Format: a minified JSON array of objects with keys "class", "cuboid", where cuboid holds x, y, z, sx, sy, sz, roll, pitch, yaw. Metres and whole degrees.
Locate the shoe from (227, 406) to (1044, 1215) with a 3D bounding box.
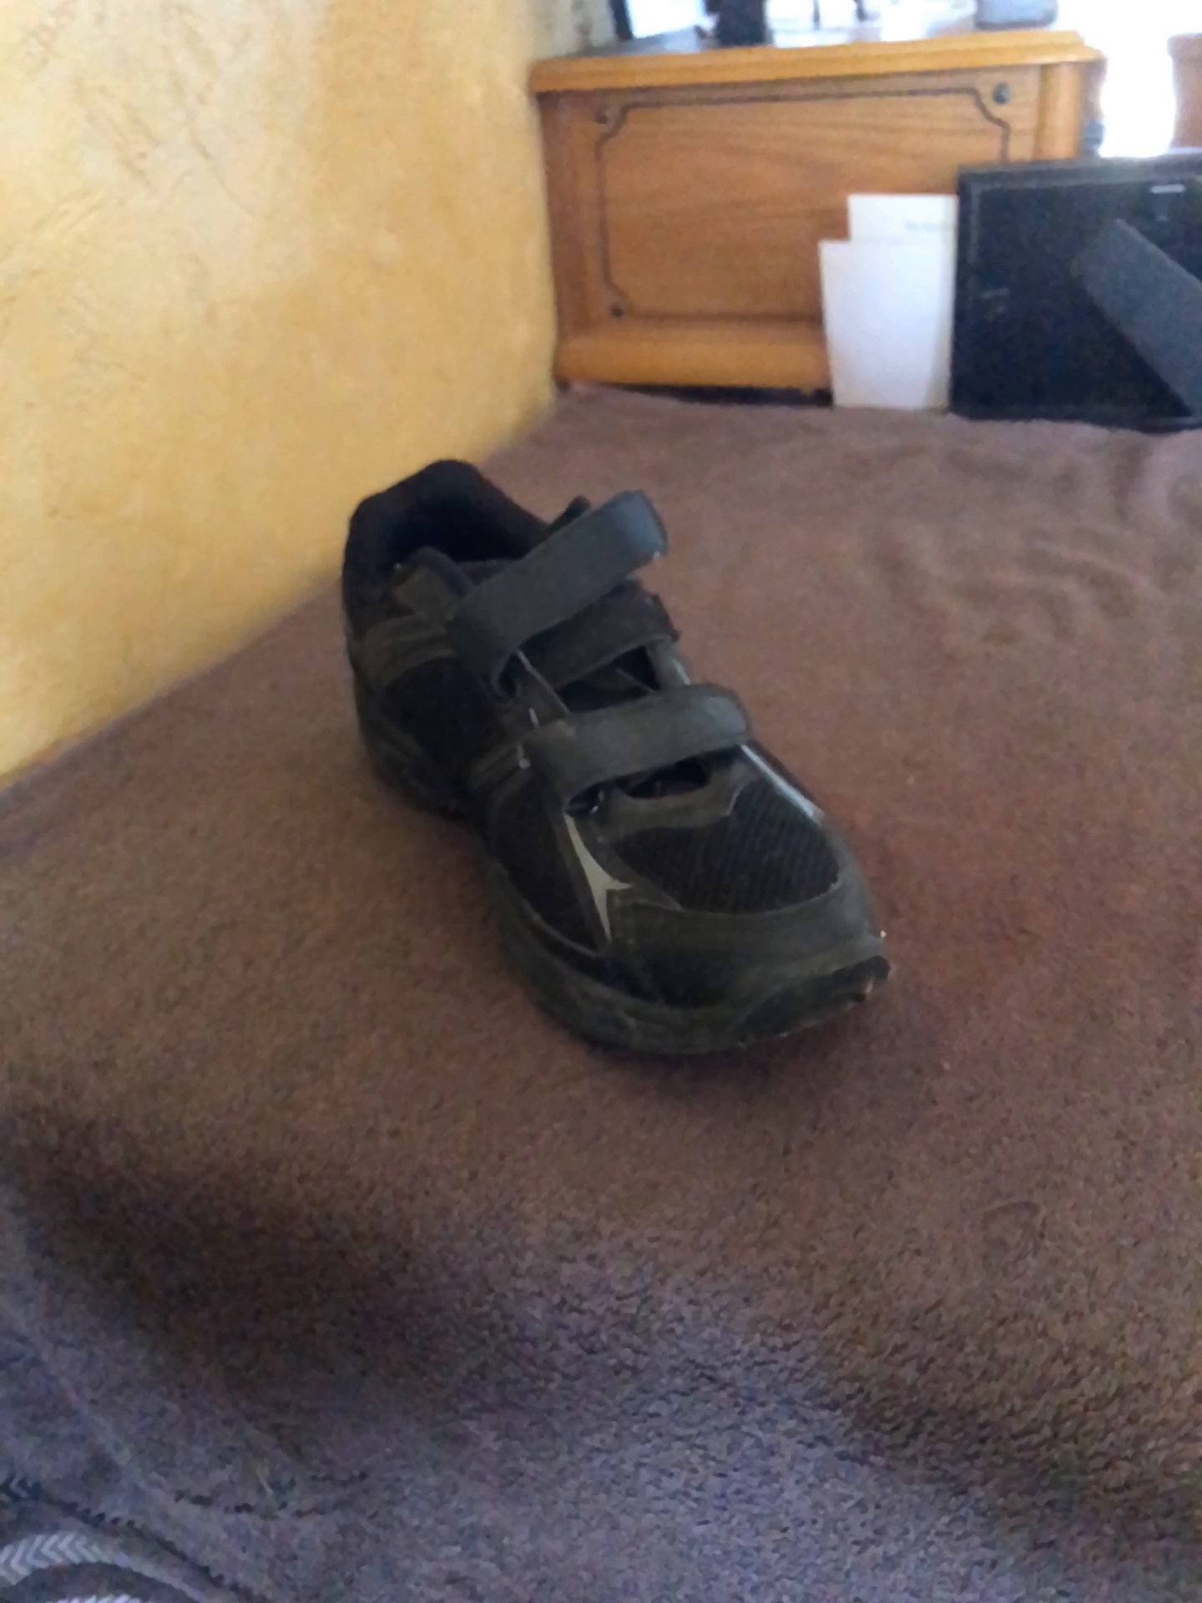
[{"class":"shoe","cuboid":[-0.011,-0.026,0.406,0.110,0.109,0.271,-19,35,-22]}]
